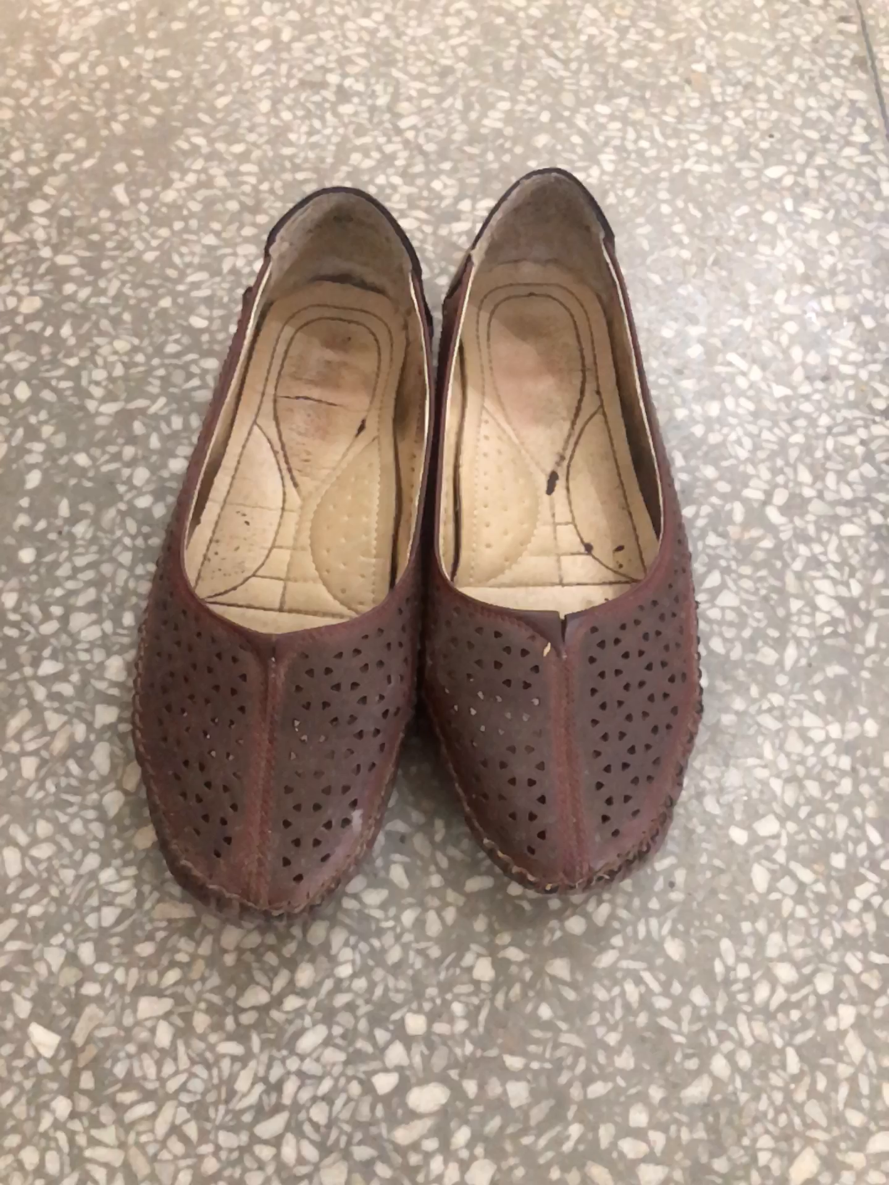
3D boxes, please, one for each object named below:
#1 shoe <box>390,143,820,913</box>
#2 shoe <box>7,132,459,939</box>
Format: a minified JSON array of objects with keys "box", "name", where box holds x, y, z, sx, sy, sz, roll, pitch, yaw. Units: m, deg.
[{"box":[0.034,-0.025,0.316,0.095,0.080,0.231,-2,67,-4],"name":"shoe"},{"box":[-0.050,-0.022,0.312,0.087,0.080,0.236,5,66,-1],"name":"shoe"}]
